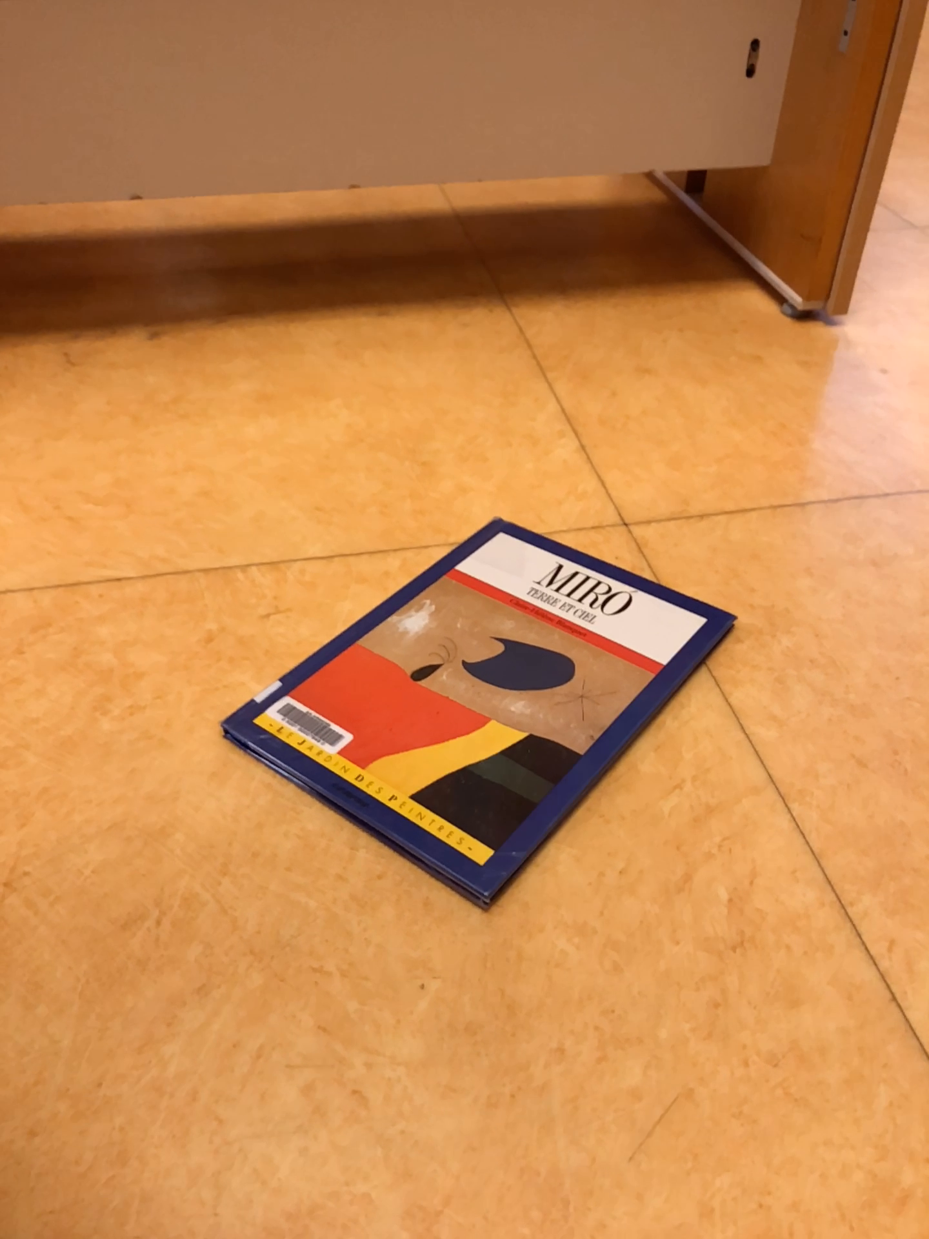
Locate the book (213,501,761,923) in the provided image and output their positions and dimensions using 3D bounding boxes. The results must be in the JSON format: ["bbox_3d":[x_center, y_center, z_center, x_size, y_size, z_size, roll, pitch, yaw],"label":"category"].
[{"bbox_3d":[0.022,0.026,0.544,0.177,0.020,0.246,26,45,28],"label":"book"}]
